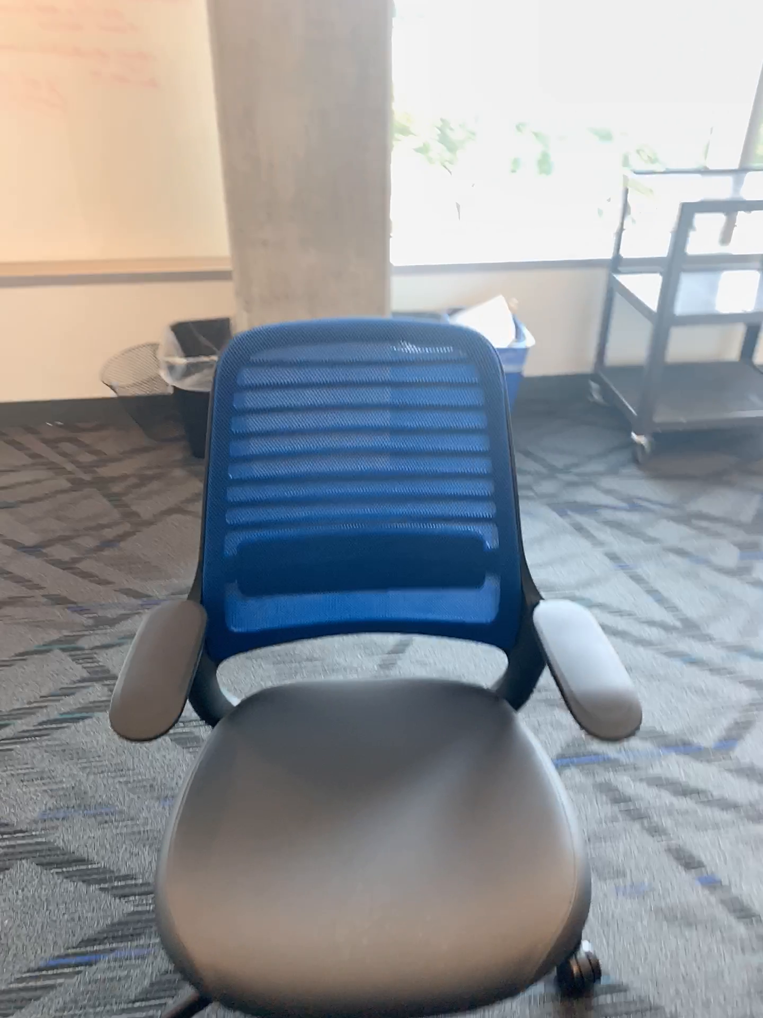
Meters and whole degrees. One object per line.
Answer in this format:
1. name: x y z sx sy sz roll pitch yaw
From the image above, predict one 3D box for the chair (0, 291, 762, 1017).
1. chair: -0.002 0.289 0.958 0.700 0.882 0.686 -4 33 -6
